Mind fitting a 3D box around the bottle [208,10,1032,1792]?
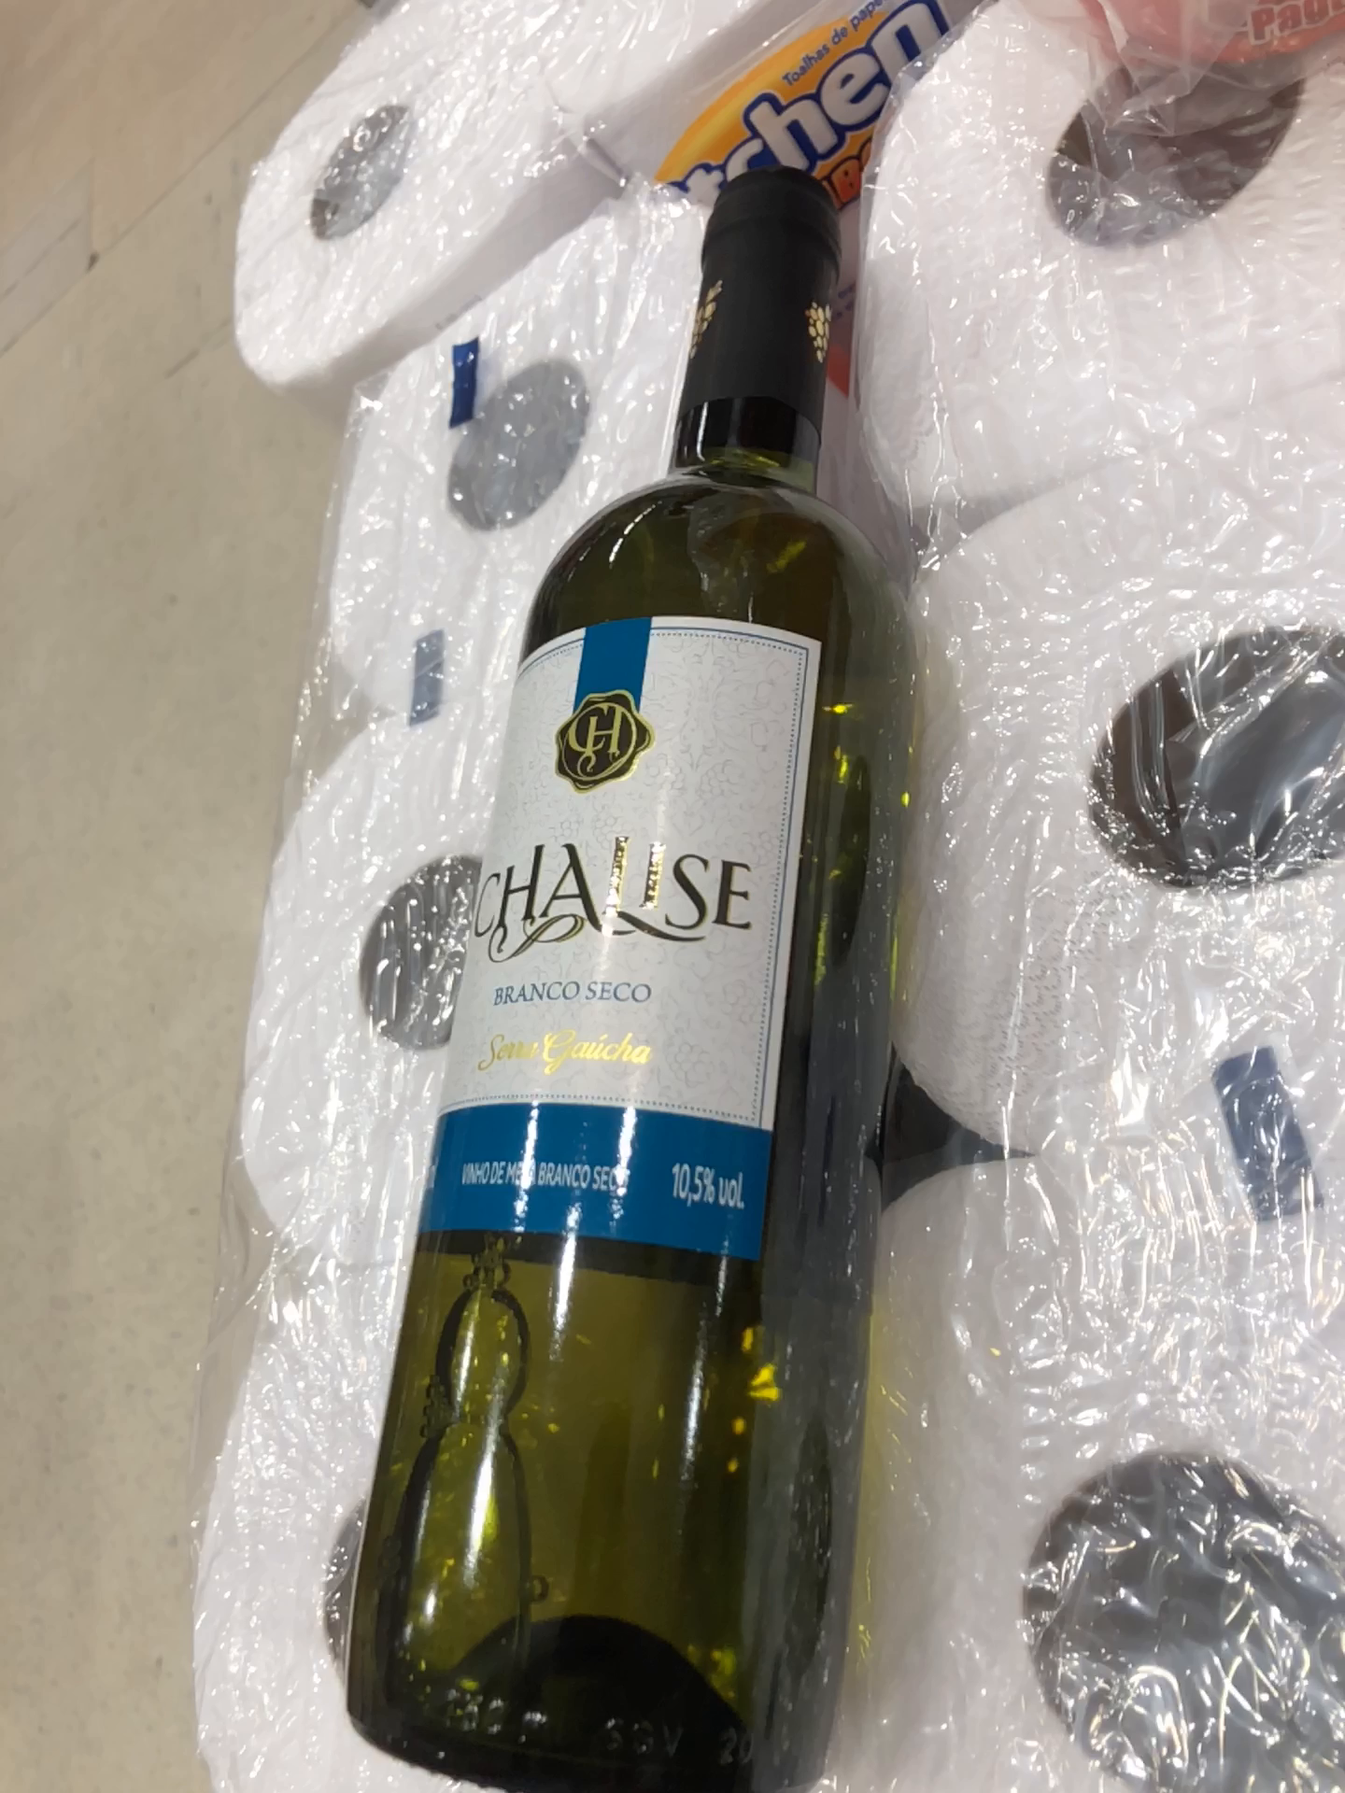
[{"bbox_3d":[0.007,-0.007,0.248,0.080,0.060,0.280,-2,68,25],"label":"bottle"}]
